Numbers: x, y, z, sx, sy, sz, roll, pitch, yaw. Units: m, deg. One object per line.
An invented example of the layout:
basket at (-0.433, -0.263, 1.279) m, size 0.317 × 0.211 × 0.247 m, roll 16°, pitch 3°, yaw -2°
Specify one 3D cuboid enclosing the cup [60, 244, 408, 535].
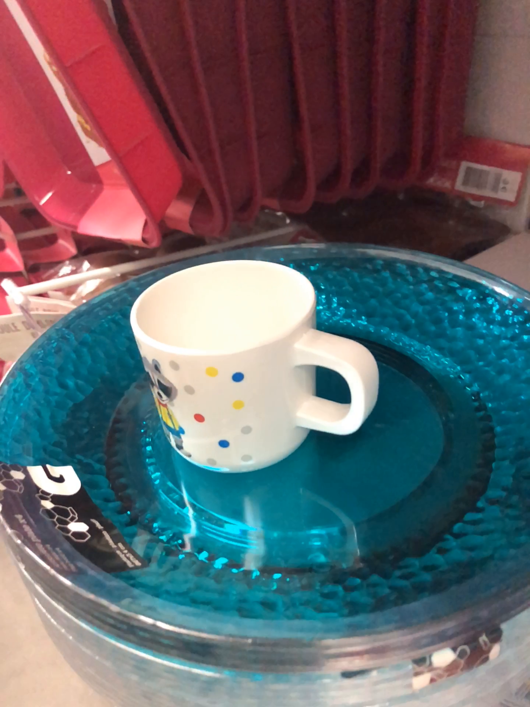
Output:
cup at (-0.009, 0.006, 0.244) m, size 0.109 × 0.059 × 0.081 m, roll 16°, pitch 39°, yaw 29°
